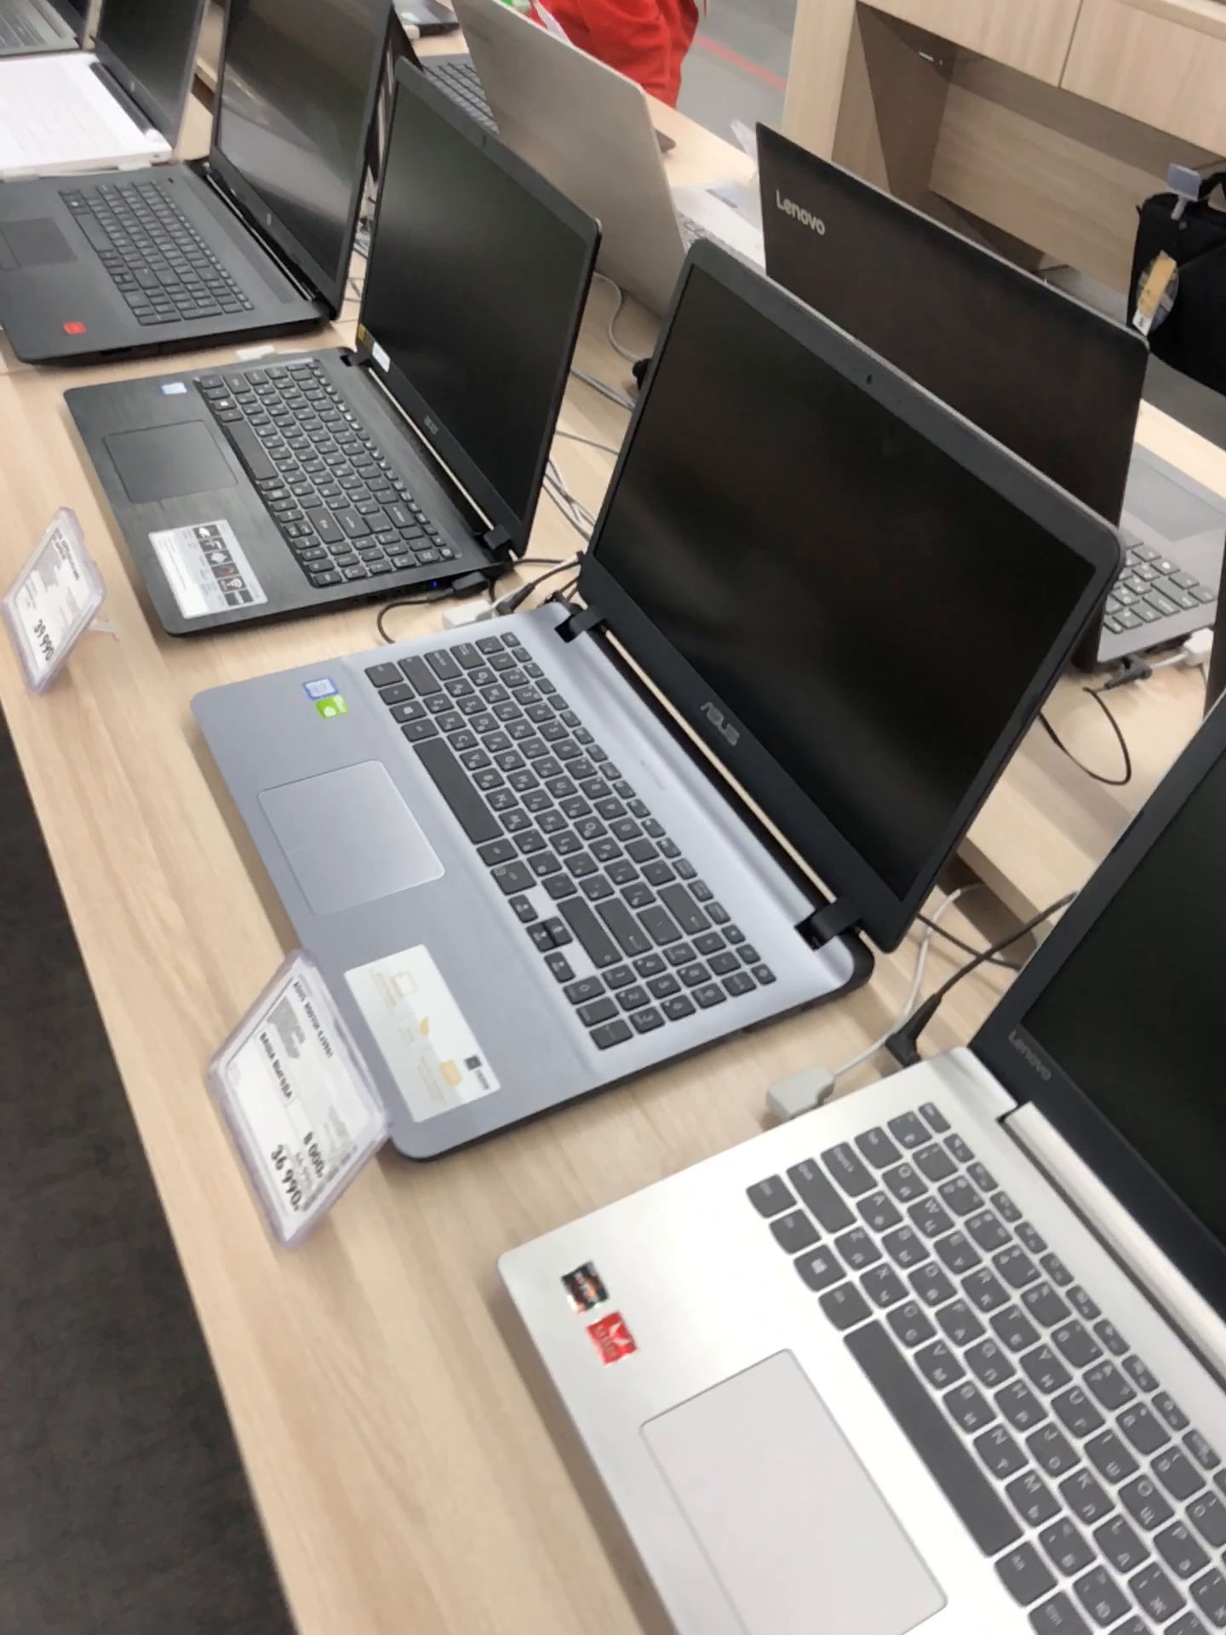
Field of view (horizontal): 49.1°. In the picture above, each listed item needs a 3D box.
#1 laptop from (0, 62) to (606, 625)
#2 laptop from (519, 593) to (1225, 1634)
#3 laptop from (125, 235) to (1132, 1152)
[{"bbox_3d":[-0.219,-0.347,0.937,0.292,0.222,0.333,-16,48,-21],"label":"laptop"},{"bbox_3d":[0.191,0.172,0.421,0.333,0.219,0.371,-20,49,-22],"label":"laptop"},{"bbox_3d":[-0.018,-0.094,0.679,0.329,0.226,0.346,-18,48,-22],"label":"laptop"}]
